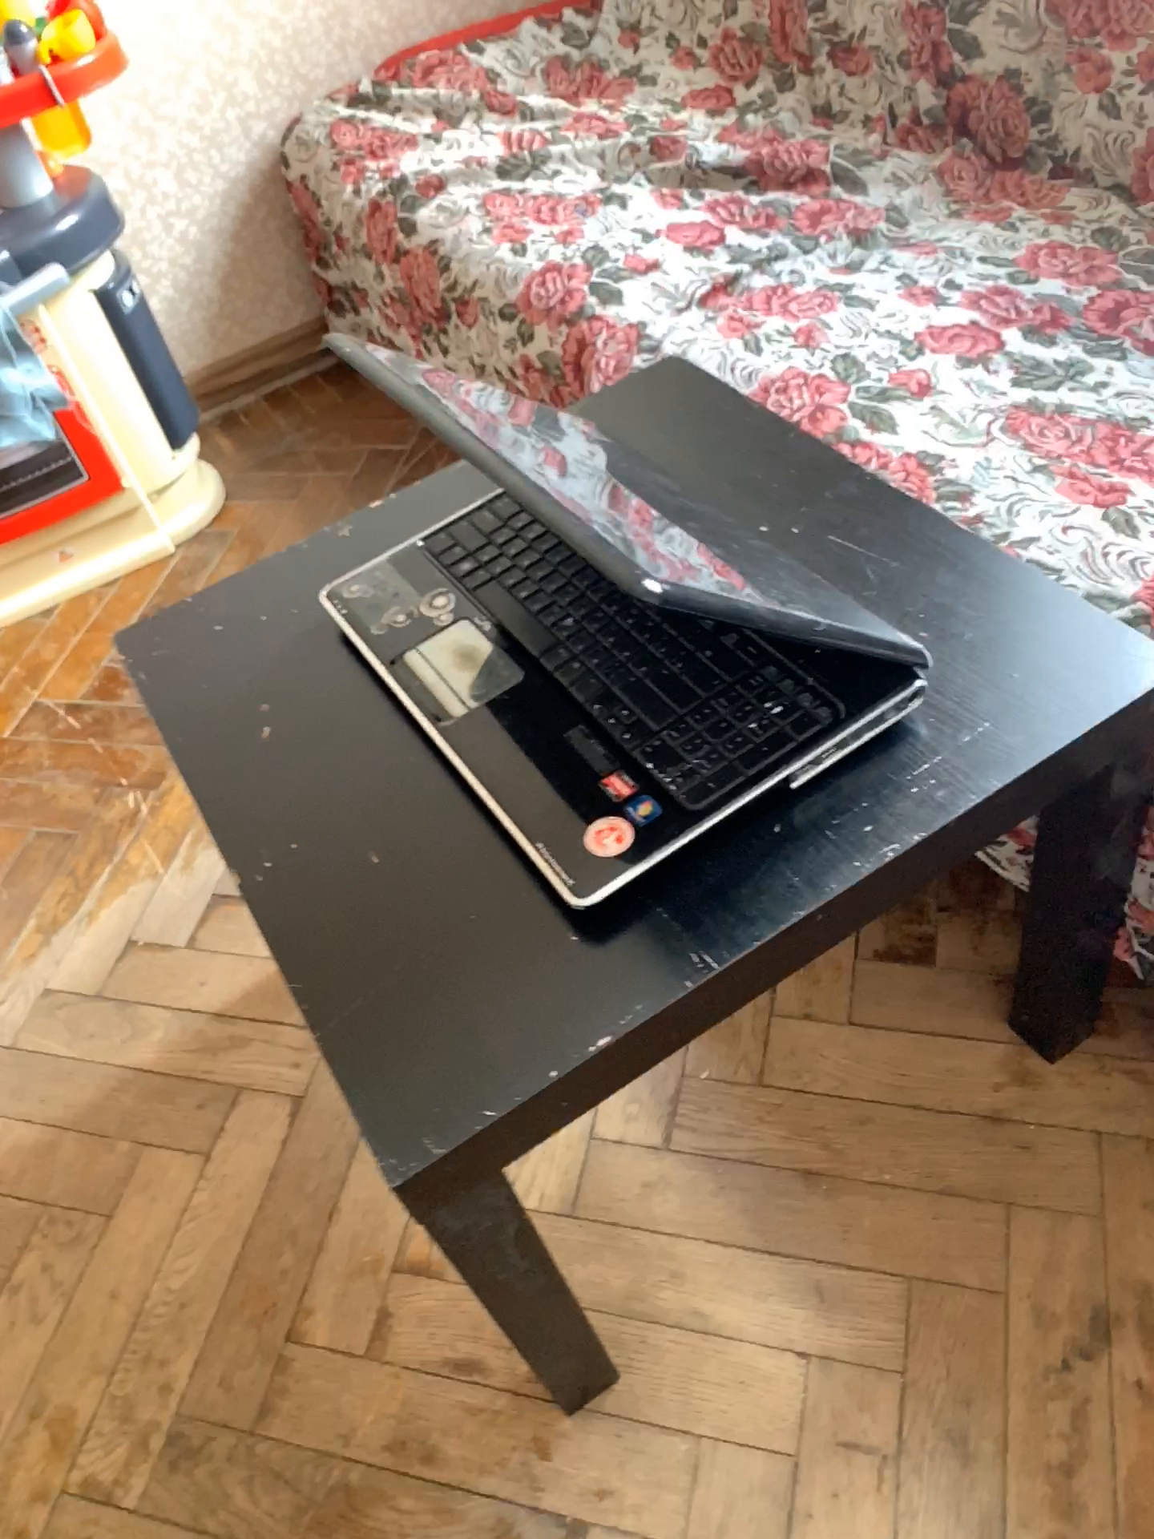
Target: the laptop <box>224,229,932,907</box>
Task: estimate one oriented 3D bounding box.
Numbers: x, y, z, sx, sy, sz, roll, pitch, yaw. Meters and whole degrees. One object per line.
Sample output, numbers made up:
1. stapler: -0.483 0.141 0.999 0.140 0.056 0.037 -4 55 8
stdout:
1. laptop: -0.011 -0.148 0.730 0.251 0.177 0.367 -31 48 -13
